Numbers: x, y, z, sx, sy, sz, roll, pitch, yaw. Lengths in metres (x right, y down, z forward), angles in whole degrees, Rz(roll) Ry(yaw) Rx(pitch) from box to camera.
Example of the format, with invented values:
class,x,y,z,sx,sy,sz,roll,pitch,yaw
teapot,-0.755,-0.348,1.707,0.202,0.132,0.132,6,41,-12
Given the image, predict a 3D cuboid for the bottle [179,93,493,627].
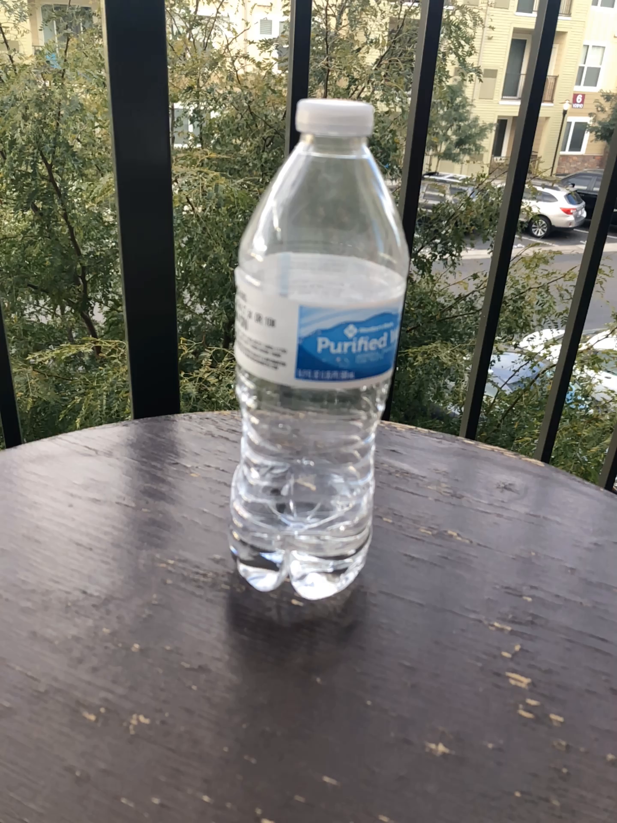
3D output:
class,x,y,z,sx,sy,sz,roll,pitch,yaw
bottle,0.003,-0.023,0.277,0.075,0.189,0.080,3,27,-1
